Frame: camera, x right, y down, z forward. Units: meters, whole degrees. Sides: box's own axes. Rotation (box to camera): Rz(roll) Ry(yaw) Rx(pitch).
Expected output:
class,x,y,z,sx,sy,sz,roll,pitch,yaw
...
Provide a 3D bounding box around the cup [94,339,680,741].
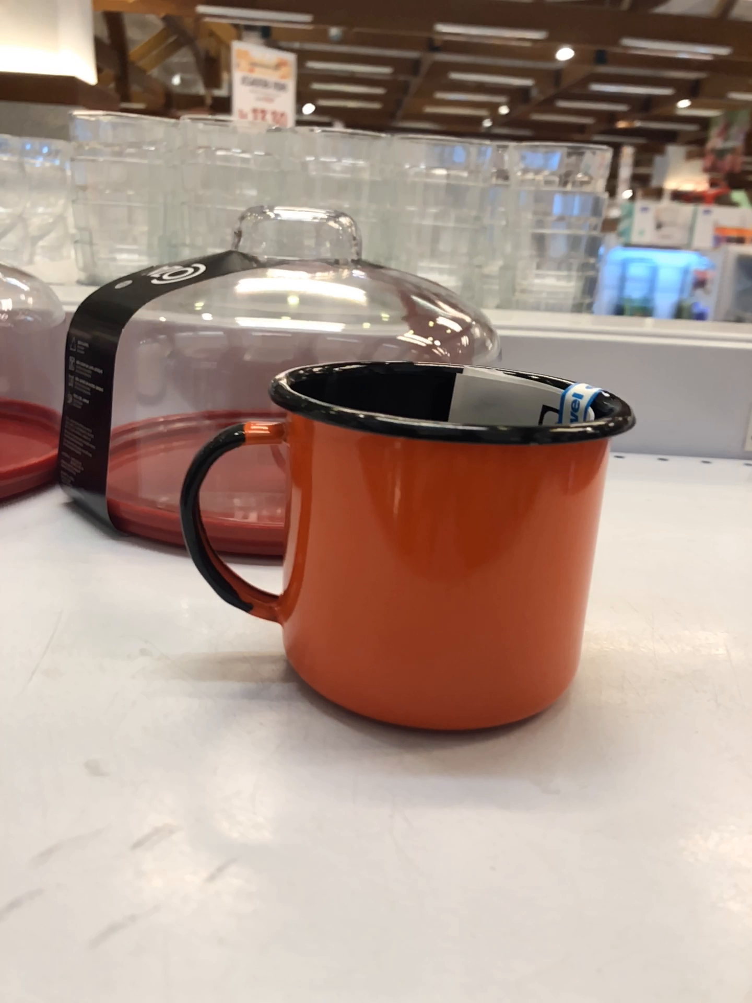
class,x,y,z,sx,sy,sz,roll,pitch,yaw
cup,0.000,0.003,0.205,0.110,0.070,0.080,2,18,-3
